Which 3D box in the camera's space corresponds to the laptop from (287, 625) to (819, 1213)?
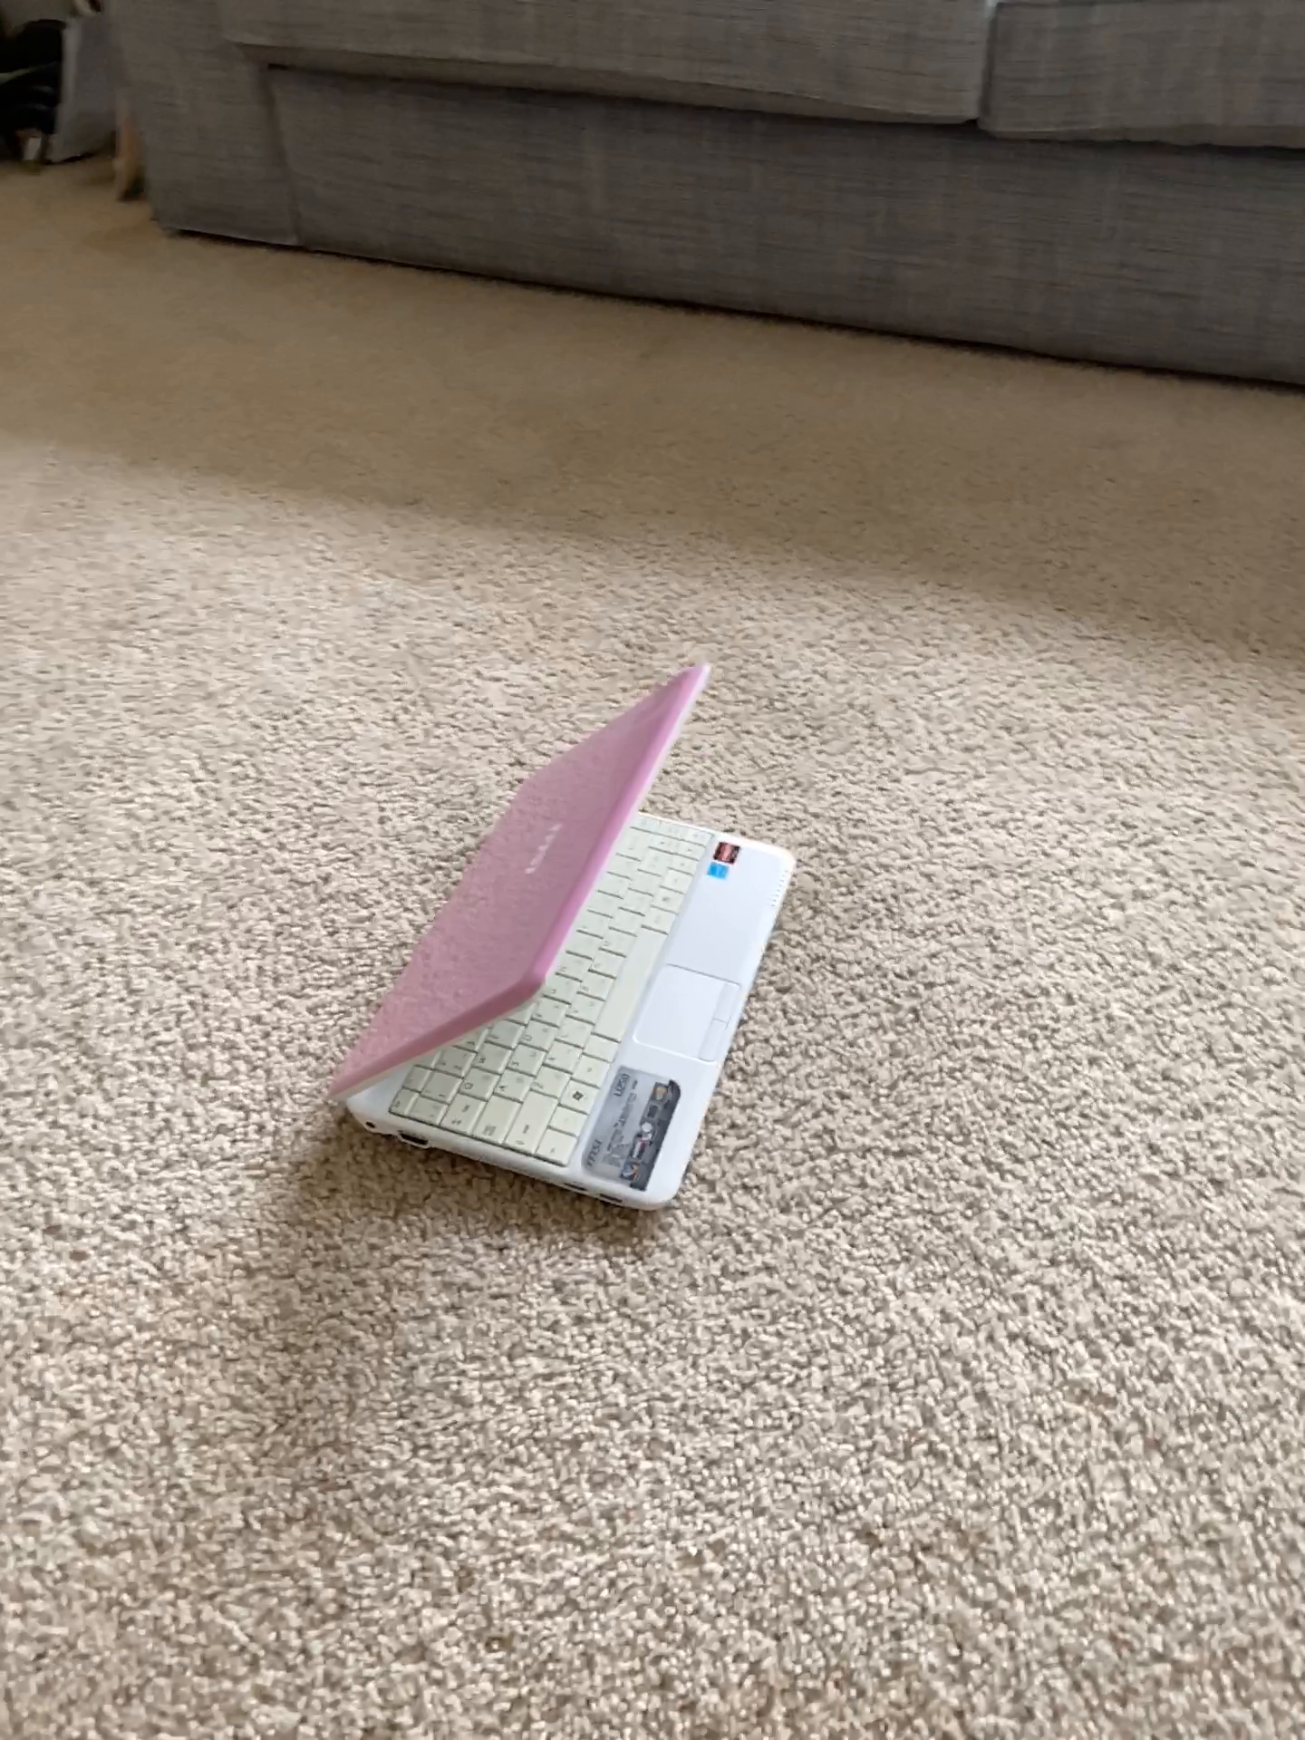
[{"bbox_3d":[-0.037,0.011,0.774,0.197,0.122,0.298,14,46,12],"label":"laptop"}]
